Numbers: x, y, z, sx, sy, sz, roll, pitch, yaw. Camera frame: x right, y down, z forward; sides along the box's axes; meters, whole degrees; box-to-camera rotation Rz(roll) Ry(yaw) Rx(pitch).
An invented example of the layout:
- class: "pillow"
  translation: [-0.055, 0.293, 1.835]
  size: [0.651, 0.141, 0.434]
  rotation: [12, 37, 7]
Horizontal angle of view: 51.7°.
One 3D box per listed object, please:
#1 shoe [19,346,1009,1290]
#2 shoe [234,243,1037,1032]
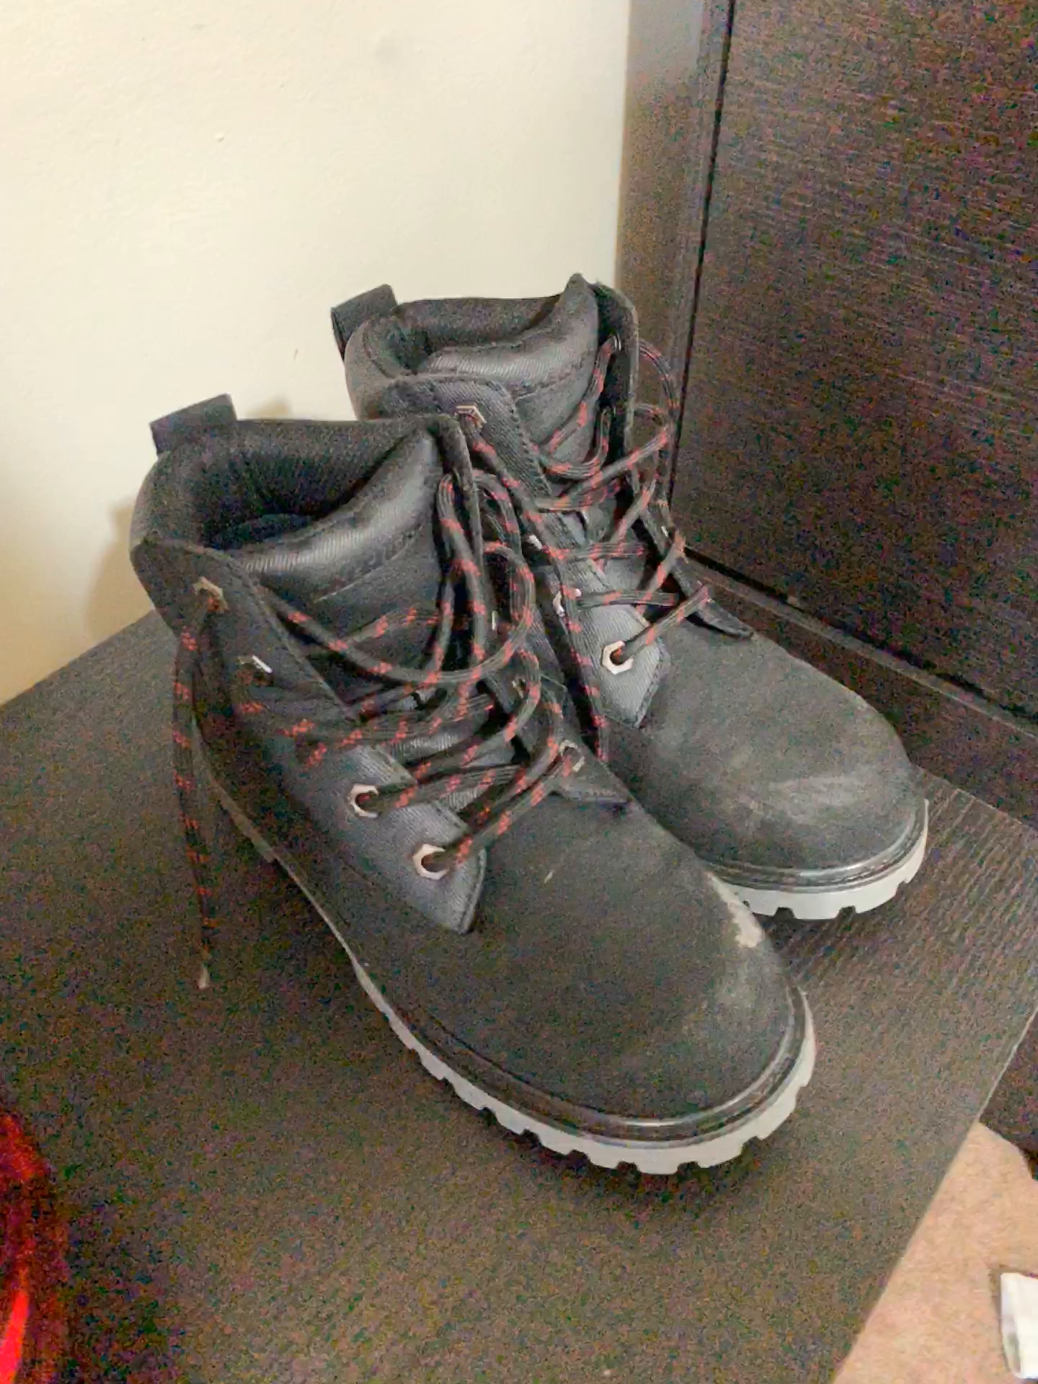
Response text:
- class: "shoe"
  translation: [-0.011, 0.026, 0.308]
  size: [0.221, 0.158, 0.101]
  rotation: [30, 53, 28]
- class: "shoe"
  translation: [0.033, -0.028, 0.363]
  size: [0.231, 0.158, 0.101]
  rotation: [30, 53, 28]
